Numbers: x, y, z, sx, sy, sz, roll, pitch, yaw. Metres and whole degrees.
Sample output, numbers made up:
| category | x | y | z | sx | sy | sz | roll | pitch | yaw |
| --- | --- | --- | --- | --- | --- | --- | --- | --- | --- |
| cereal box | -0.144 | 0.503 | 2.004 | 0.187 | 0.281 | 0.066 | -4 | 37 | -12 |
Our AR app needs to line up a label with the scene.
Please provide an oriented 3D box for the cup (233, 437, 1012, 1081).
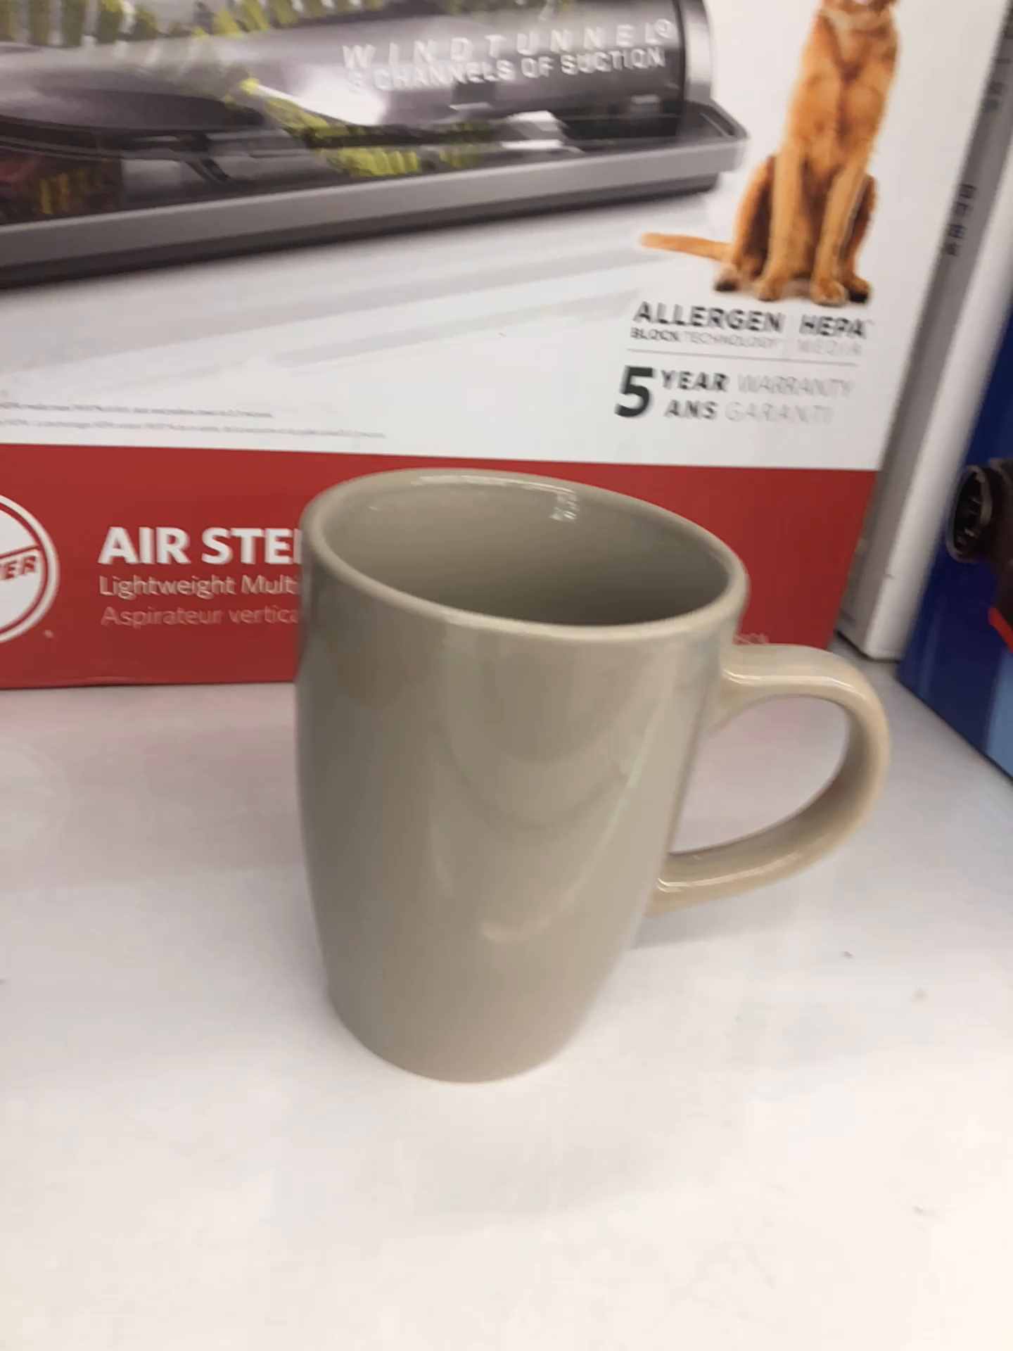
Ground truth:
| category | x | y | z | sx | sy | sz | roll | pitch | yaw |
| --- | --- | --- | --- | --- | --- | --- | --- | --- | --- |
| cup | 0.013 | 0.015 | 0.231 | 0.125 | 0.092 | 0.088 | 3 | 27 | -10 |
